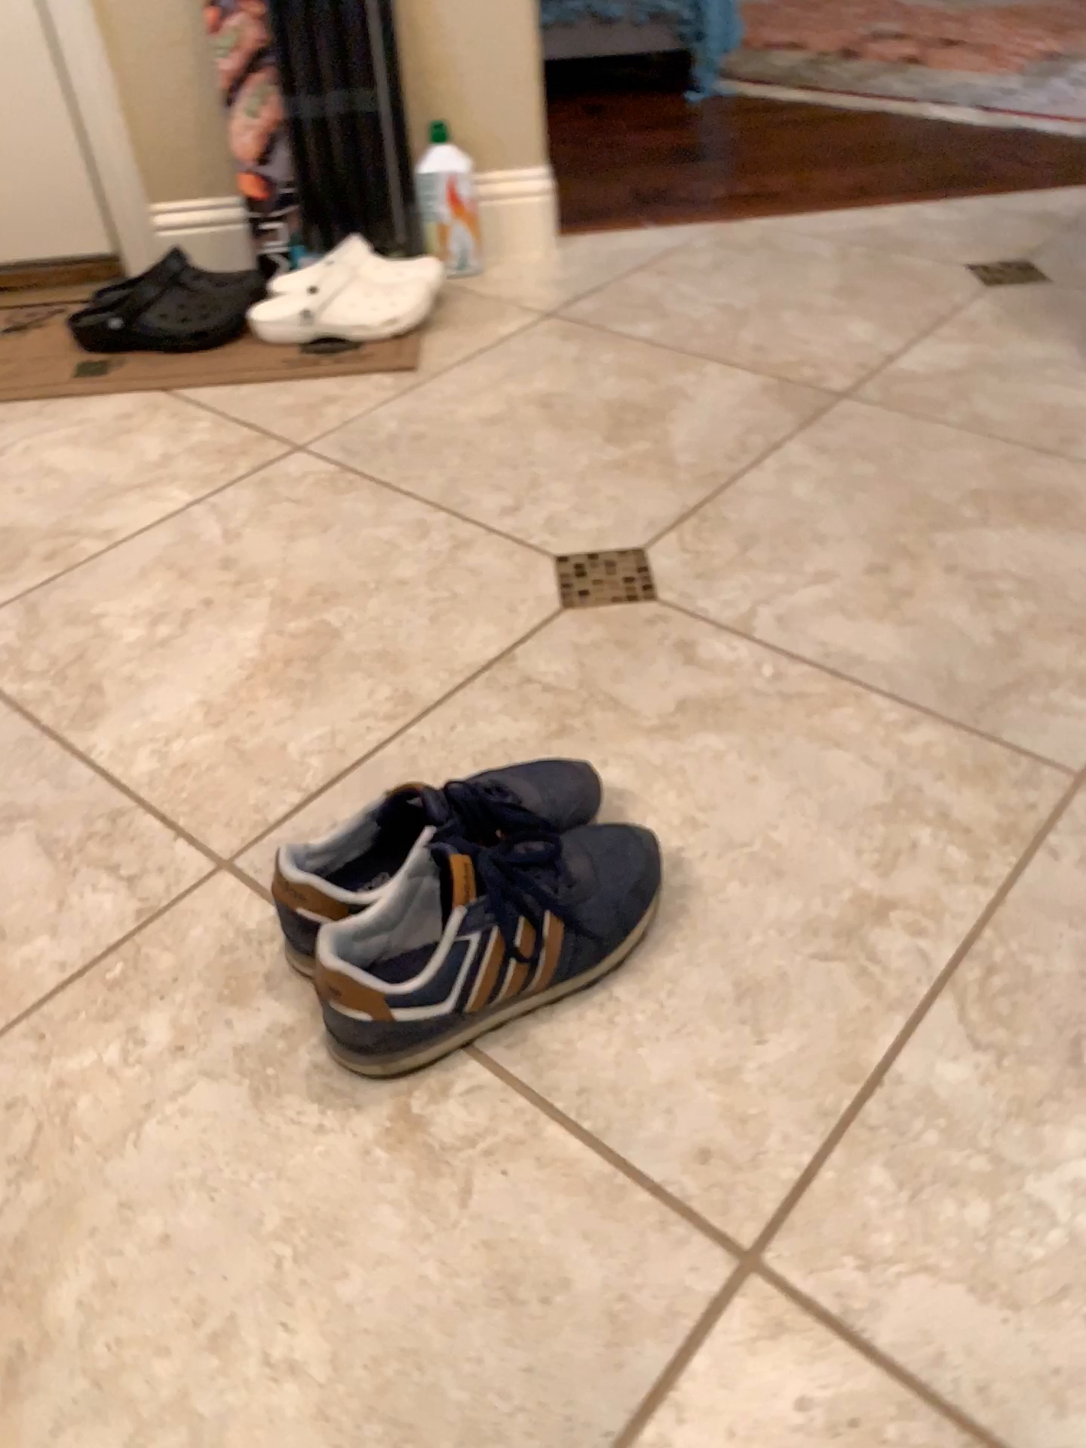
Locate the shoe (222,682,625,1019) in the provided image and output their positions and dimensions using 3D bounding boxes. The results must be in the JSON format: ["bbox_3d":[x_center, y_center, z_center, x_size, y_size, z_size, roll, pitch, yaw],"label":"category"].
[{"bbox_3d":[-0.084,0.090,0.873,0.282,0.102,0.112,-26,45,-22],"label":"shoe"}]

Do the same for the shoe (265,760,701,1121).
[{"bbox_3d":[-0.036,0.147,0.801,0.282,0.102,0.107,-23,44,-19],"label":"shoe"}]
